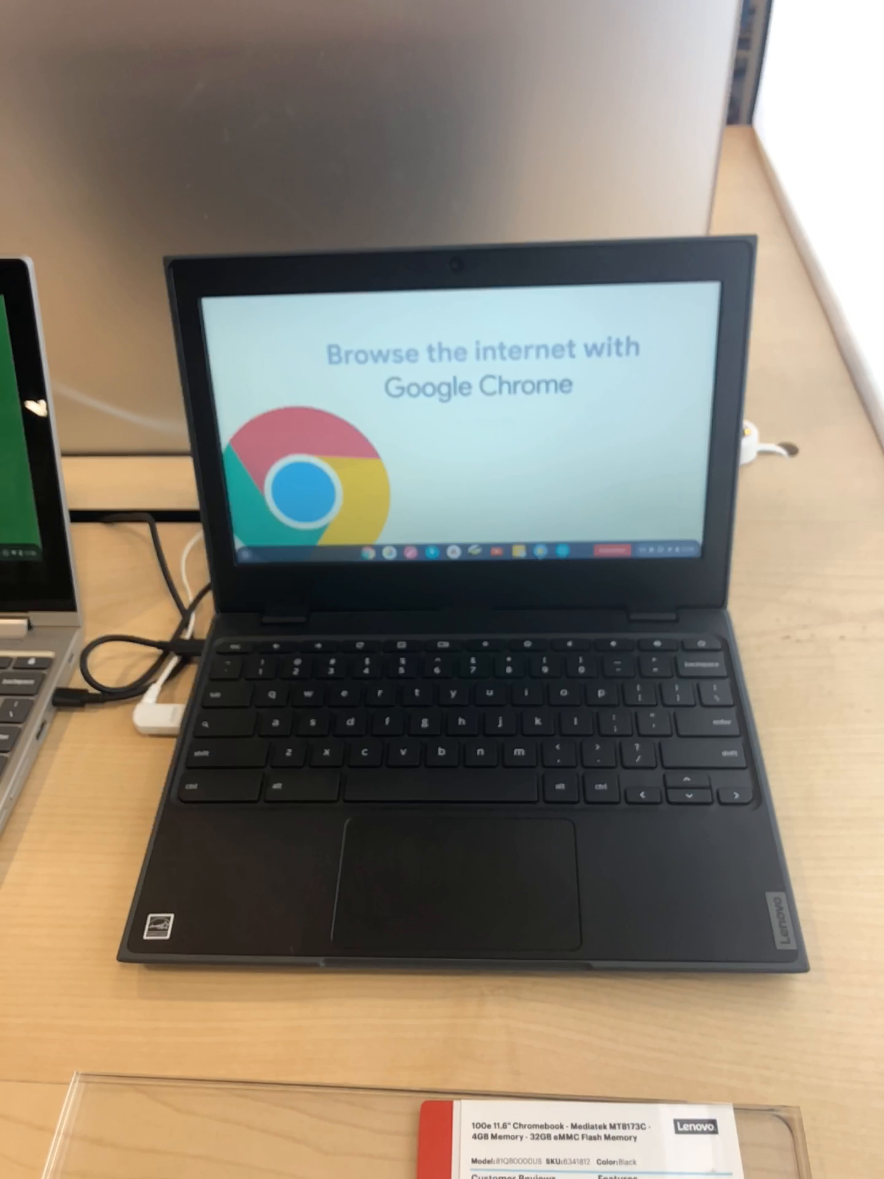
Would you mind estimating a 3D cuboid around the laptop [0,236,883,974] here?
[{"bbox_3d":[0.009,-0.004,0.441,0.281,0.178,0.272,-1,43,5],"label":"laptop"}]
